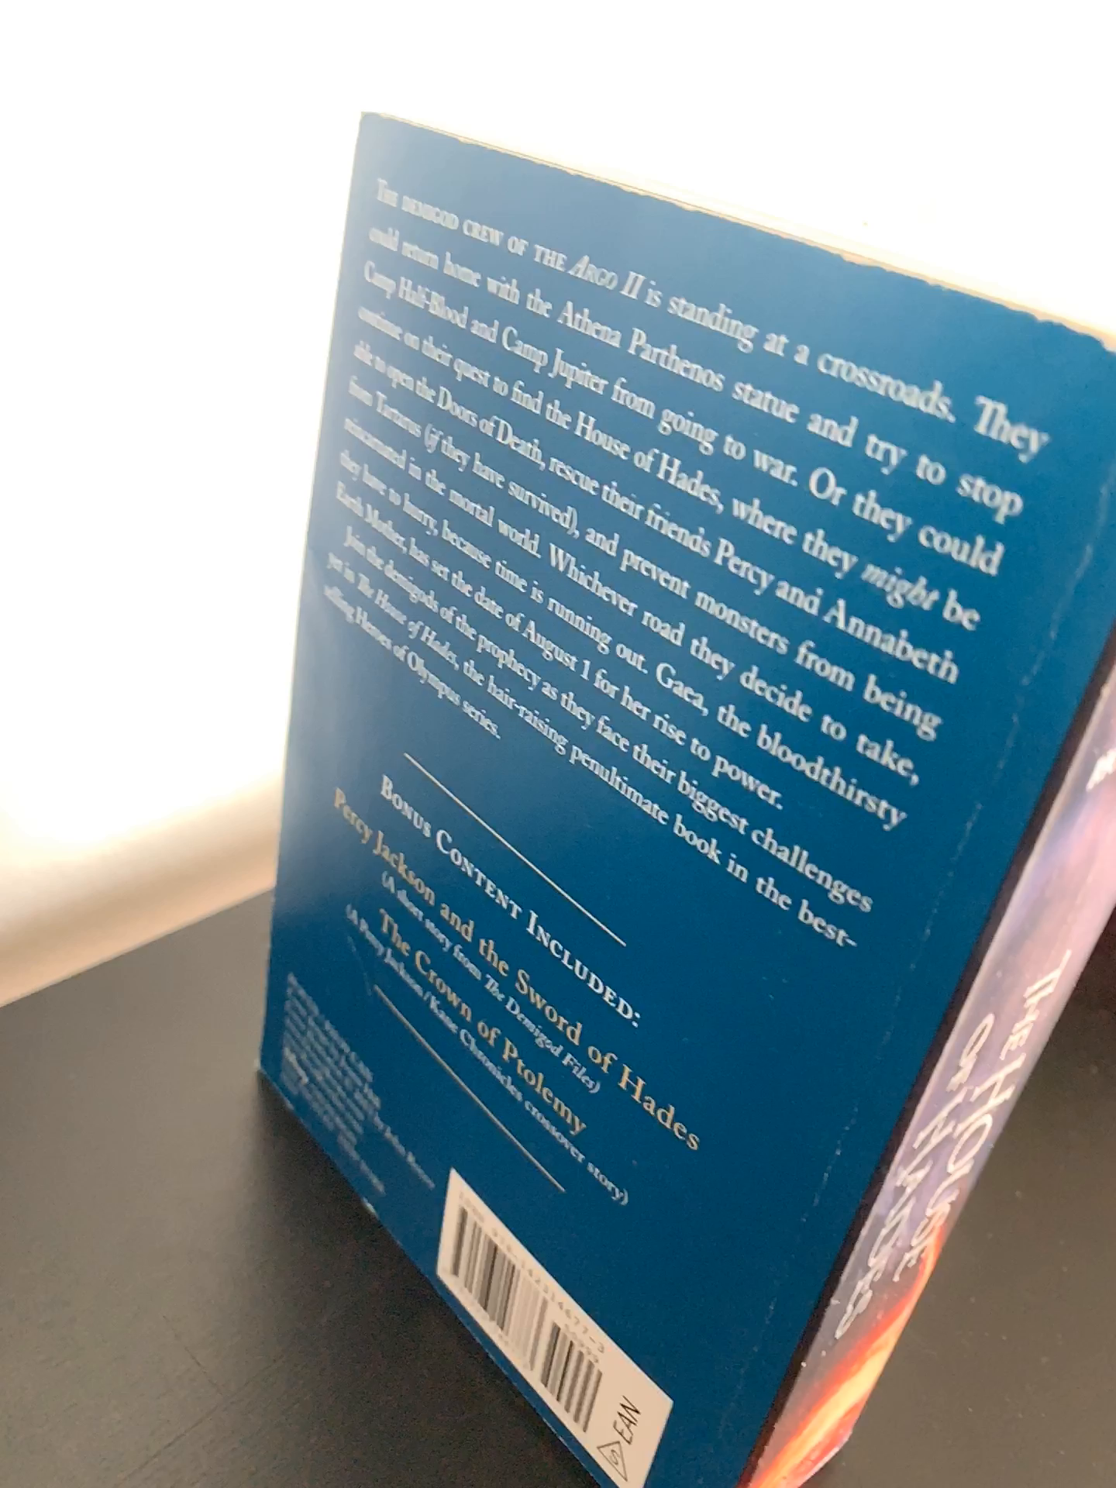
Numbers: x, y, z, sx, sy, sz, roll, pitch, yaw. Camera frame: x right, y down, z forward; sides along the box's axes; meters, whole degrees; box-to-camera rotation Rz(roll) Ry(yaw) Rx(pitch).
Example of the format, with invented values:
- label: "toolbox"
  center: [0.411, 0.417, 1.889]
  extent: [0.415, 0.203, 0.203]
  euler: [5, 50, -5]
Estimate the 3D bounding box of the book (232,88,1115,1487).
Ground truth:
- label: "book"
  center: [0.020, 0.008, 0.187]
  extent: [0.077, 0.176, 0.145]
  euler: [-17, 38, -40]
